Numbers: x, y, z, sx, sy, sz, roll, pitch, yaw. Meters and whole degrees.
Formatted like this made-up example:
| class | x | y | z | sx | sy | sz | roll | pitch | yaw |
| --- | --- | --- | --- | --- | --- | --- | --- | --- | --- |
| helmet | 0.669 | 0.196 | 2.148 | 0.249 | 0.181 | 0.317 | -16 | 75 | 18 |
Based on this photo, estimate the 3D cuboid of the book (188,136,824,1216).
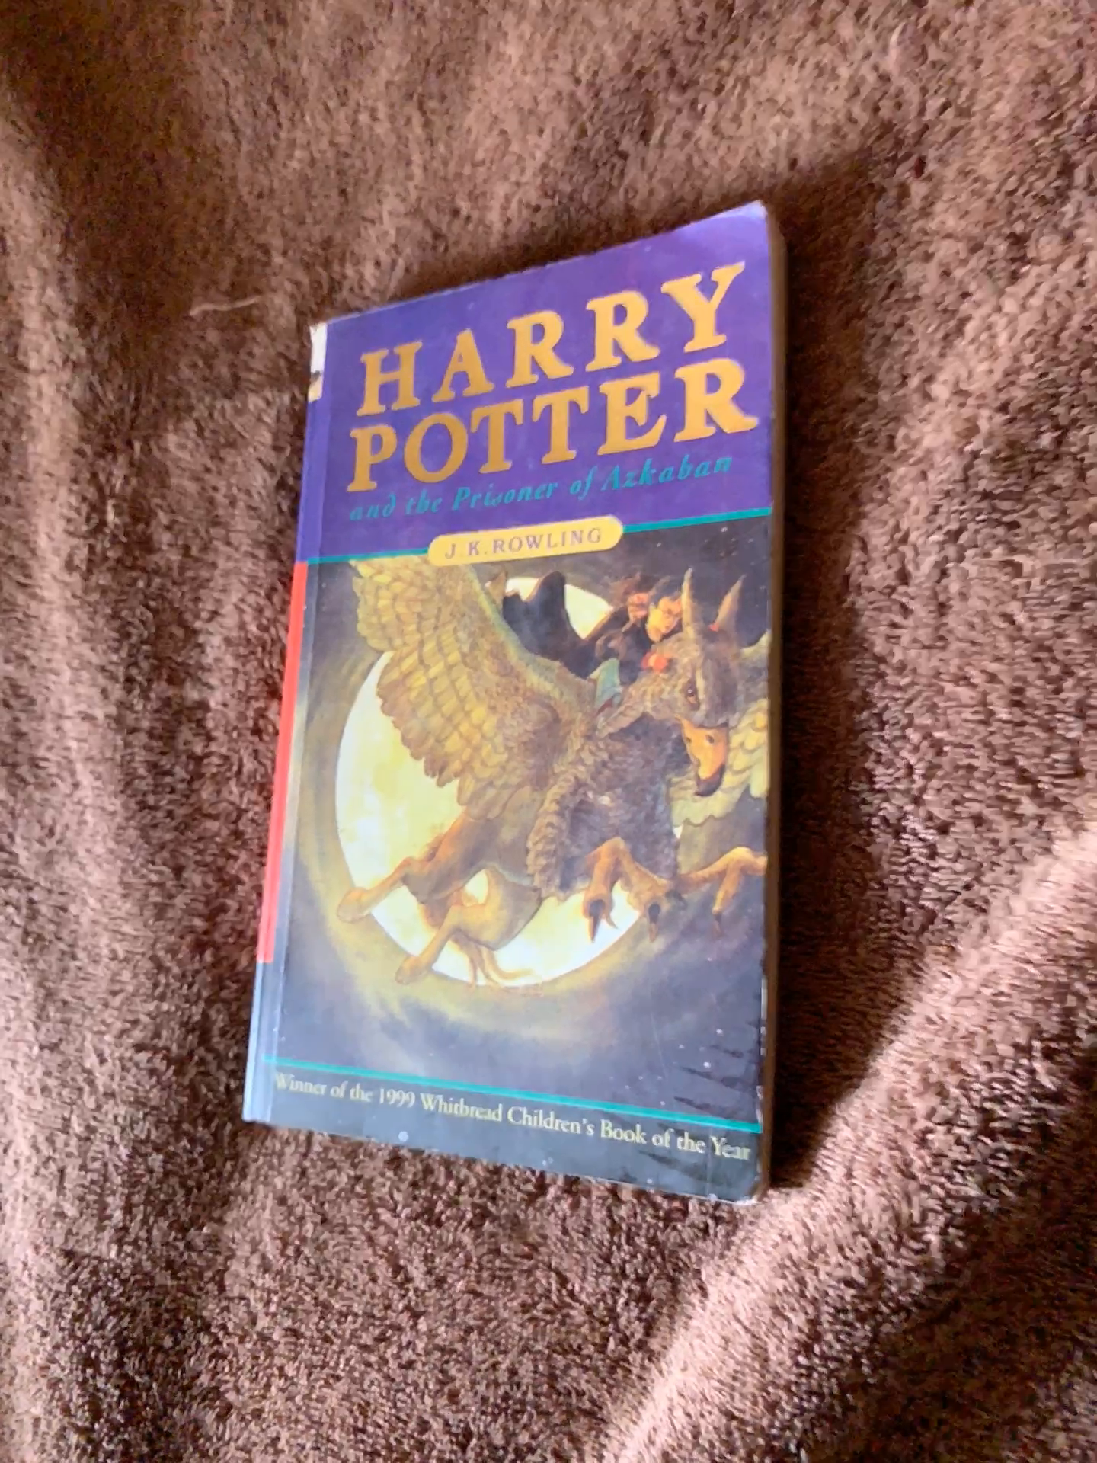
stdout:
| class | x | y | z | sx | sy | sz | roll | pitch | yaw |
| --- | --- | --- | --- | --- | --- | --- | --- | --- | --- |
| book | -0.014 | -0.010 | 0.229 | 0.130 | 0.020 | 0.180 | -2 | 84 | 28 |
